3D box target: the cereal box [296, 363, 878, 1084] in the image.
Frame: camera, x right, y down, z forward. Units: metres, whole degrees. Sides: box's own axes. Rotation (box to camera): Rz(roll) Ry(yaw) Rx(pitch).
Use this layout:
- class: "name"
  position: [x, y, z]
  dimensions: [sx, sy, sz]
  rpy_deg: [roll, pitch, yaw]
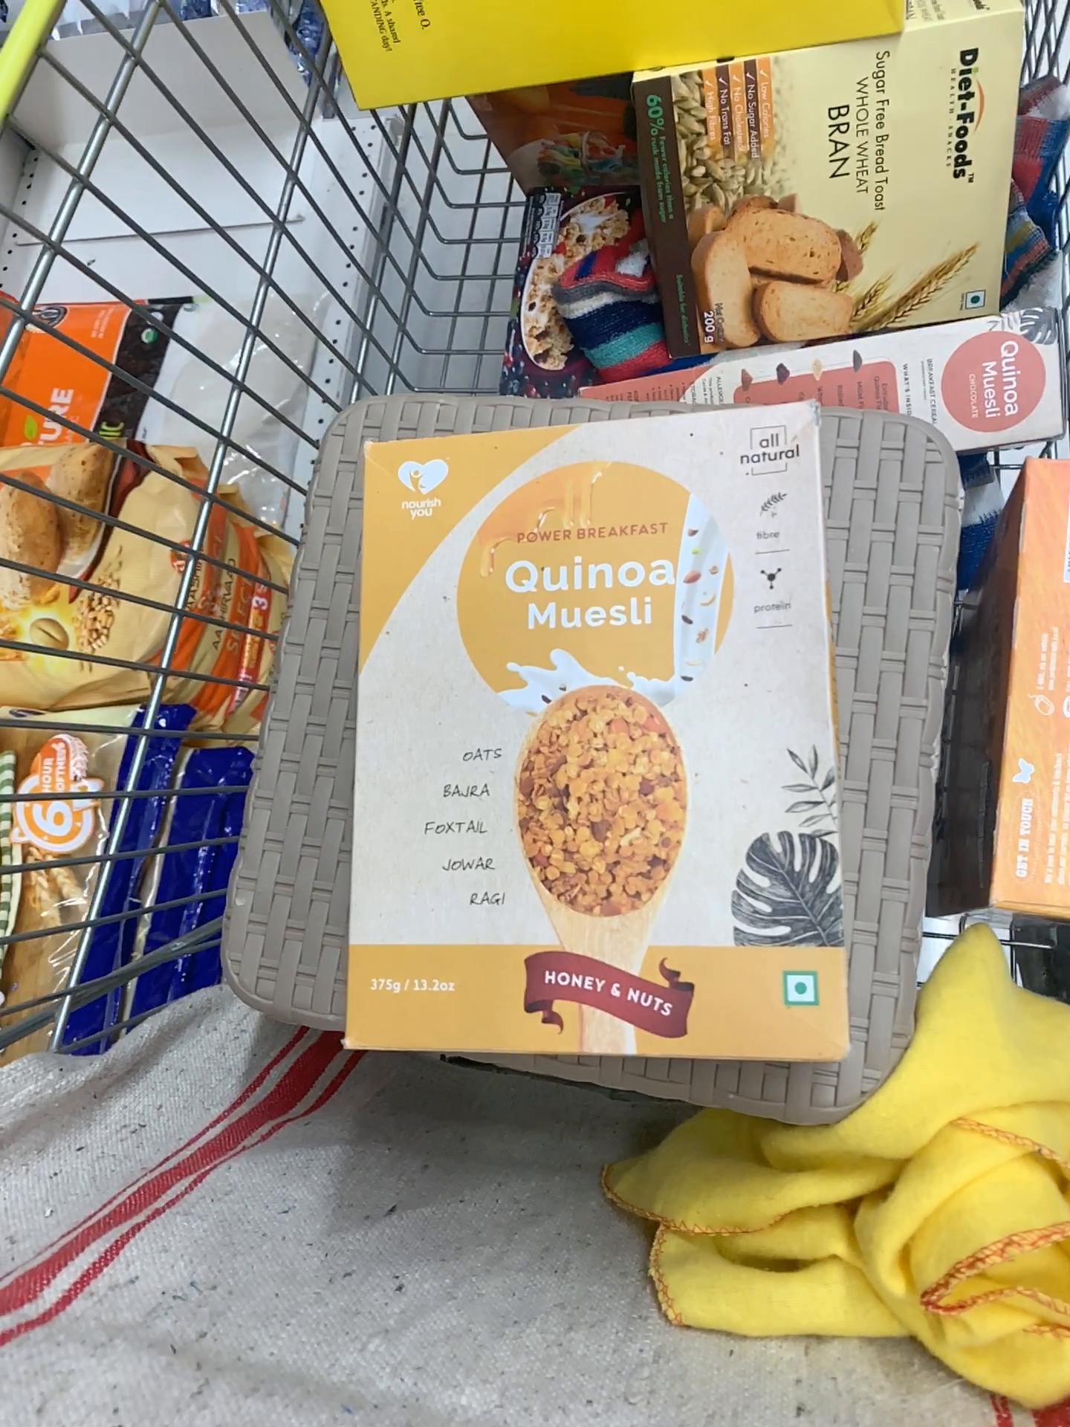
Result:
- class: "cereal box"
  position: [0.019, 0.007, 0.354]
  dimensions: [0.160, 0.080, 0.200]
  rpy_deg: [-2, 78, 13]
